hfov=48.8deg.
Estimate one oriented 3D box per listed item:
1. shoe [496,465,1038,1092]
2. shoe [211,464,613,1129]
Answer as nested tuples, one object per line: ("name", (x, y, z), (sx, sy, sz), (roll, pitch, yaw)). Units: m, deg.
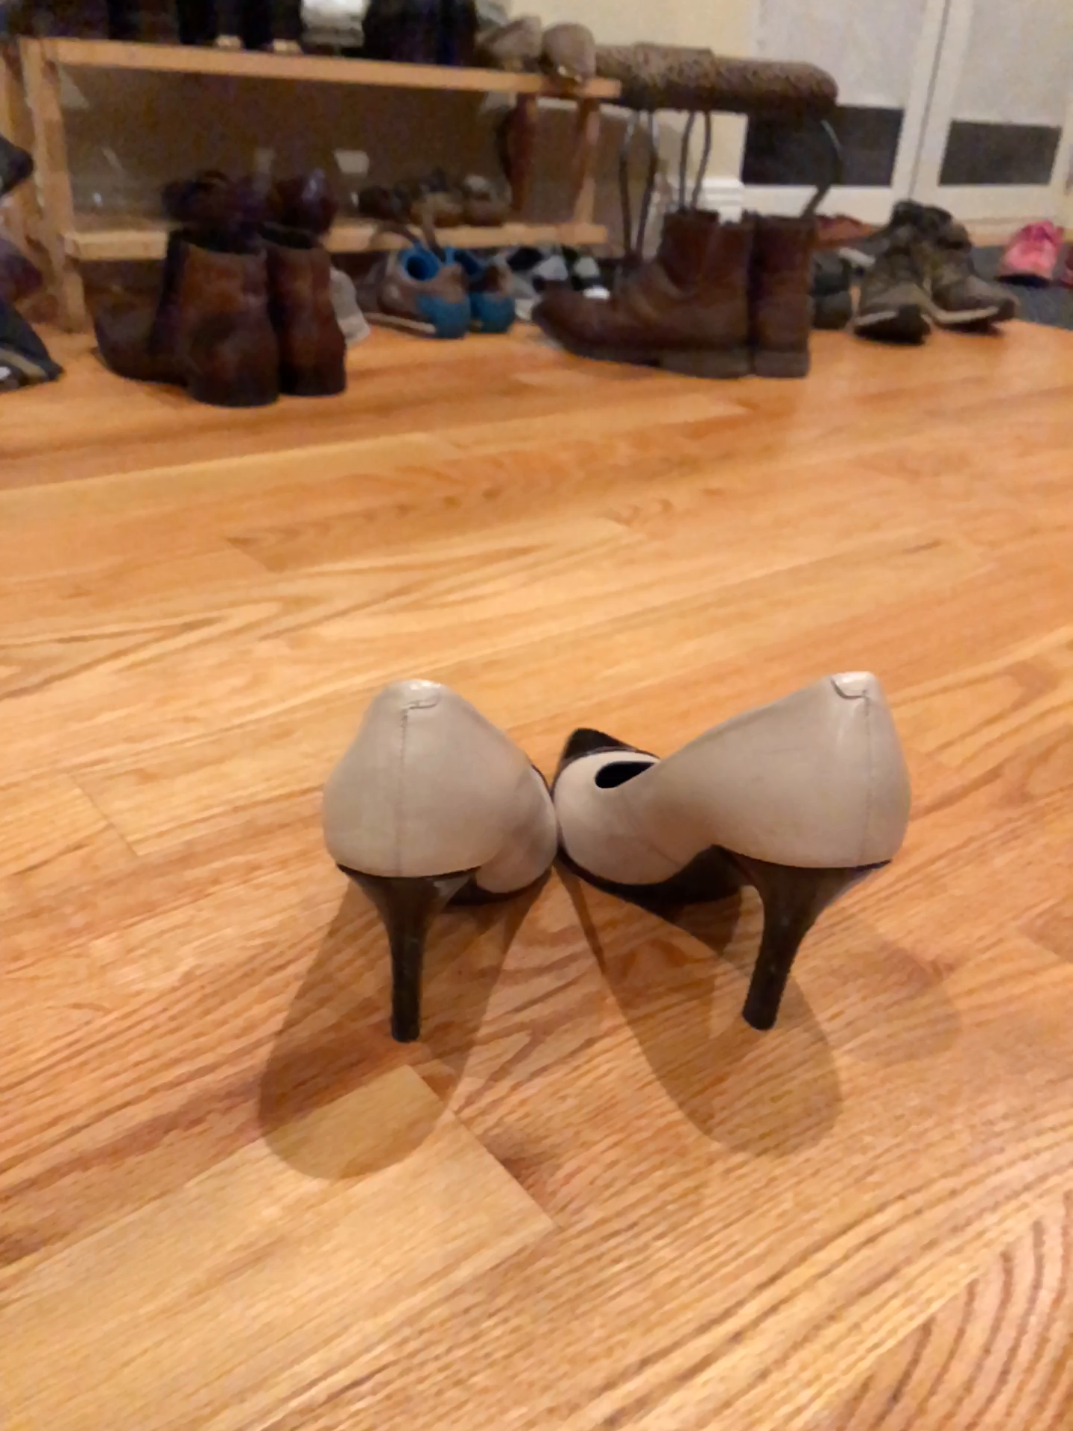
("shoe", (0.065, 0.004, 0.468), (0.085, 0.138, 0.236), (-6, 29, -20))
("shoe", (-0.031, 0.009, 0.446), (0.085, 0.138, 0.236), (7, 28, 6))
